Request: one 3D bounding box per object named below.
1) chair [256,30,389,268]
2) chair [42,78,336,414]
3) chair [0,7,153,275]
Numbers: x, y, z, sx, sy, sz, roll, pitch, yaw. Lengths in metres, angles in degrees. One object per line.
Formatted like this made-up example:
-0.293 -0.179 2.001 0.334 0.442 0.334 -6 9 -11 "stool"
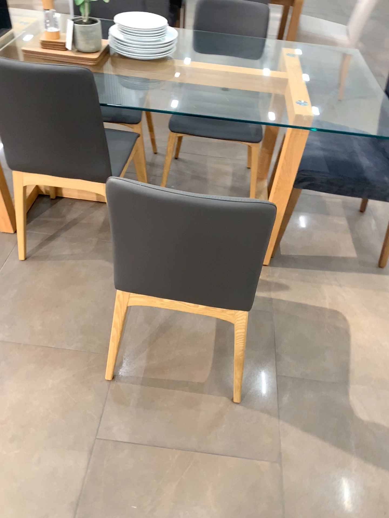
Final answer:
0.666 -0.455 1.749 0.586 0.813 0.547 4 45 -3 "chair"
-0.009 -0.007 1.223 0.562 0.813 0.541 9 45 3 "chair"
-0.467 -0.432 1.576 0.522 0.833 0.501 7 45 1 "chair"
